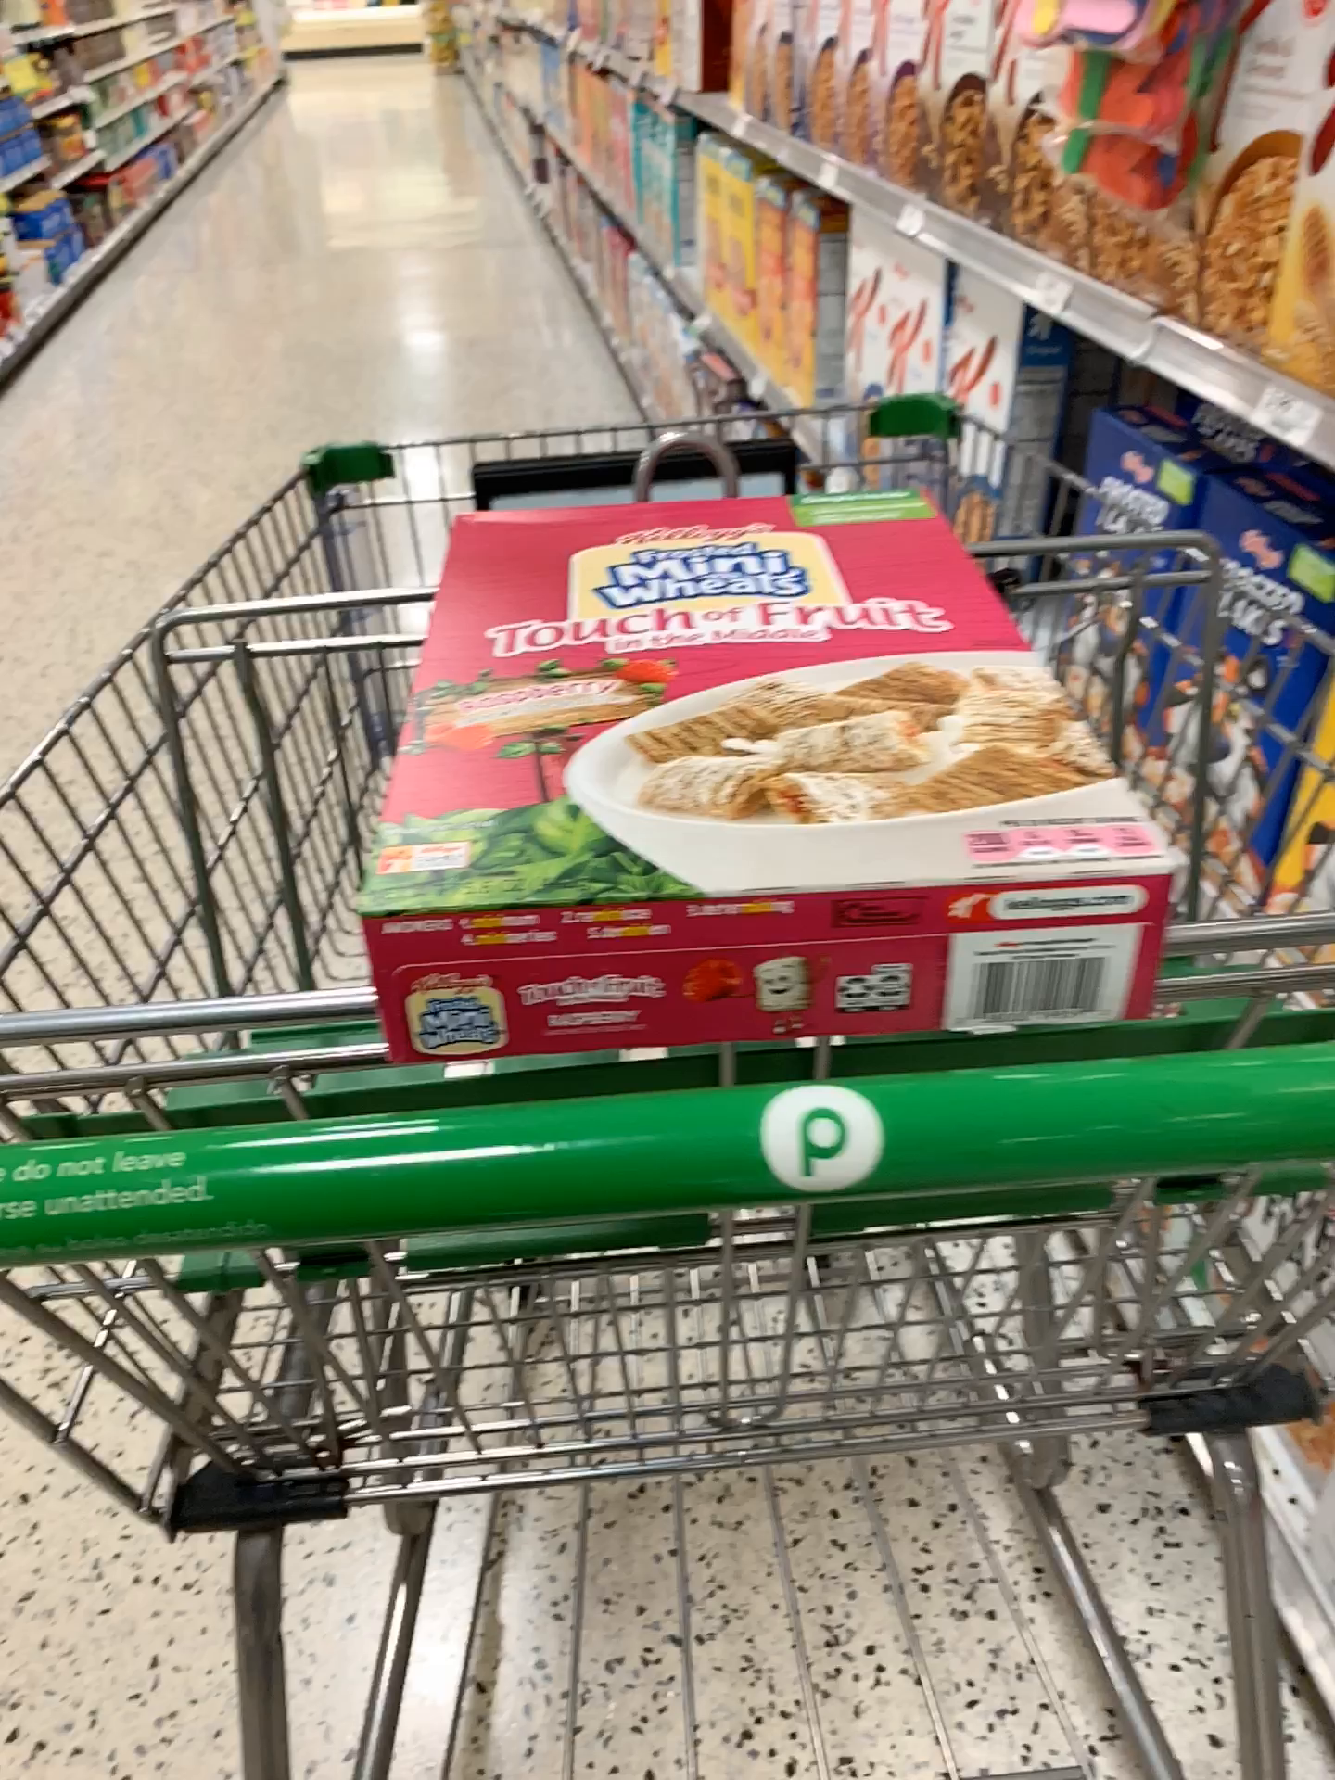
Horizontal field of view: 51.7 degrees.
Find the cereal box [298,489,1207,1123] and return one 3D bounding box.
[{"bbox_3d":[0.012,-0.052,0.437,0.200,0.049,0.293,-3,34,-2],"label":"cereal box"}]
